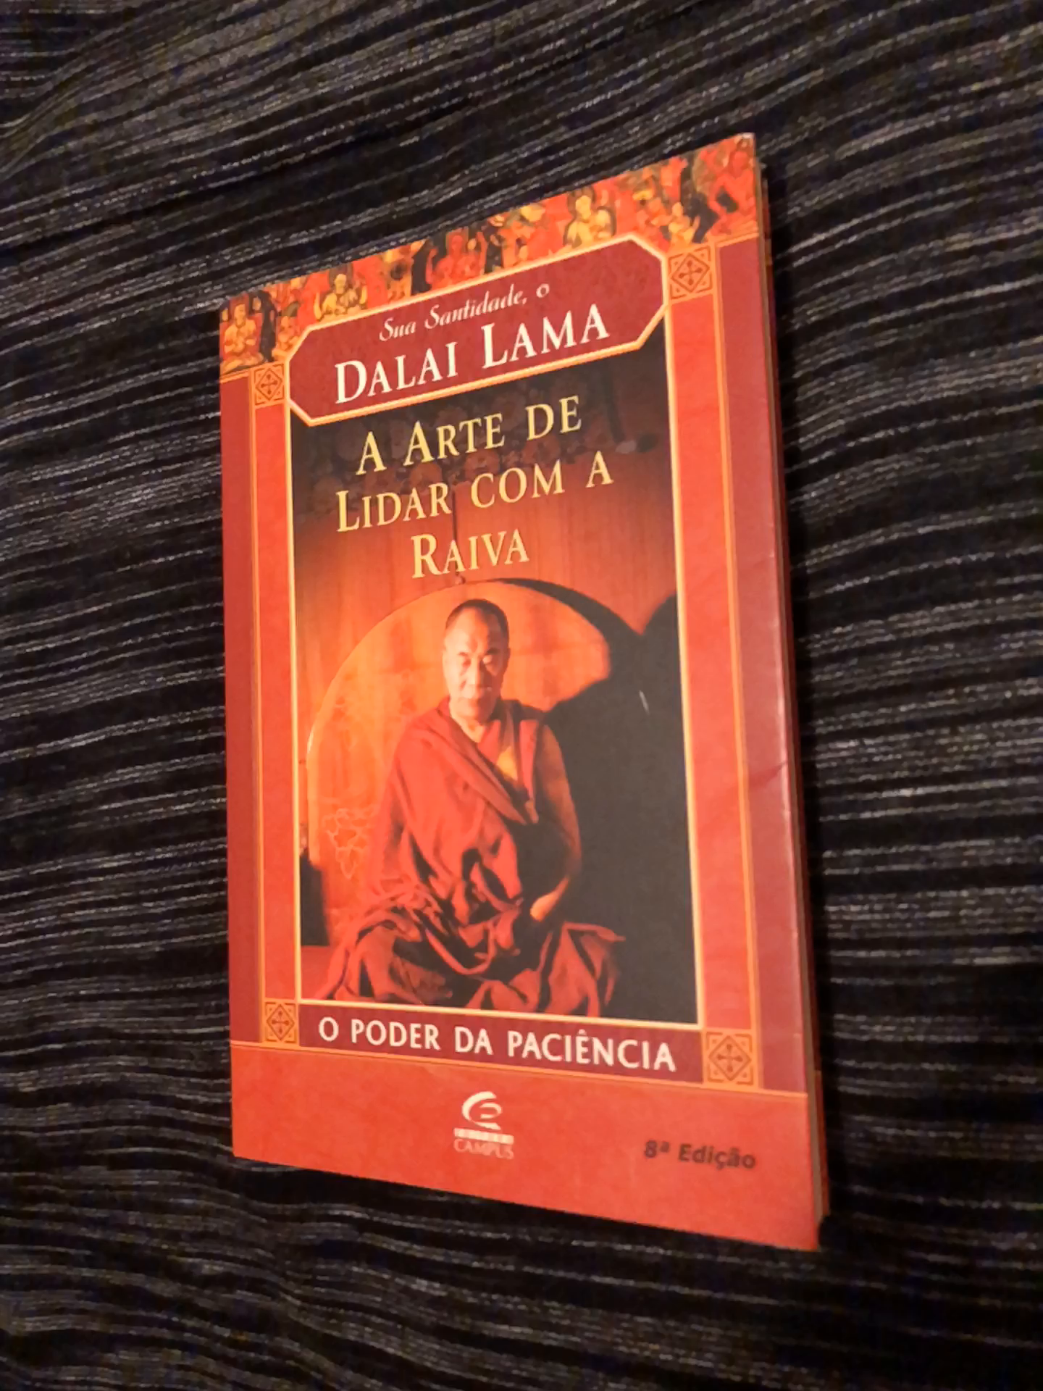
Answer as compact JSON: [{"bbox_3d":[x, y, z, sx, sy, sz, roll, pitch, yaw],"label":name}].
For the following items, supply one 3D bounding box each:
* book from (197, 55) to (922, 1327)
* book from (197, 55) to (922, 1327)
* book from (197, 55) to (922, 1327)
[{"bbox_3d":[-0.003,-0.001,0.246,0.150,0.030,0.220,-5,83,28],"label":"book"},{"bbox_3d":[-0.003,-0.001,0.246,0.150,0.030,0.220,-5,83,28],"label":"book"},{"bbox_3d":[-0.003,-0.001,0.246,0.150,0.030,0.220,-5,83,28],"label":"book"}]
